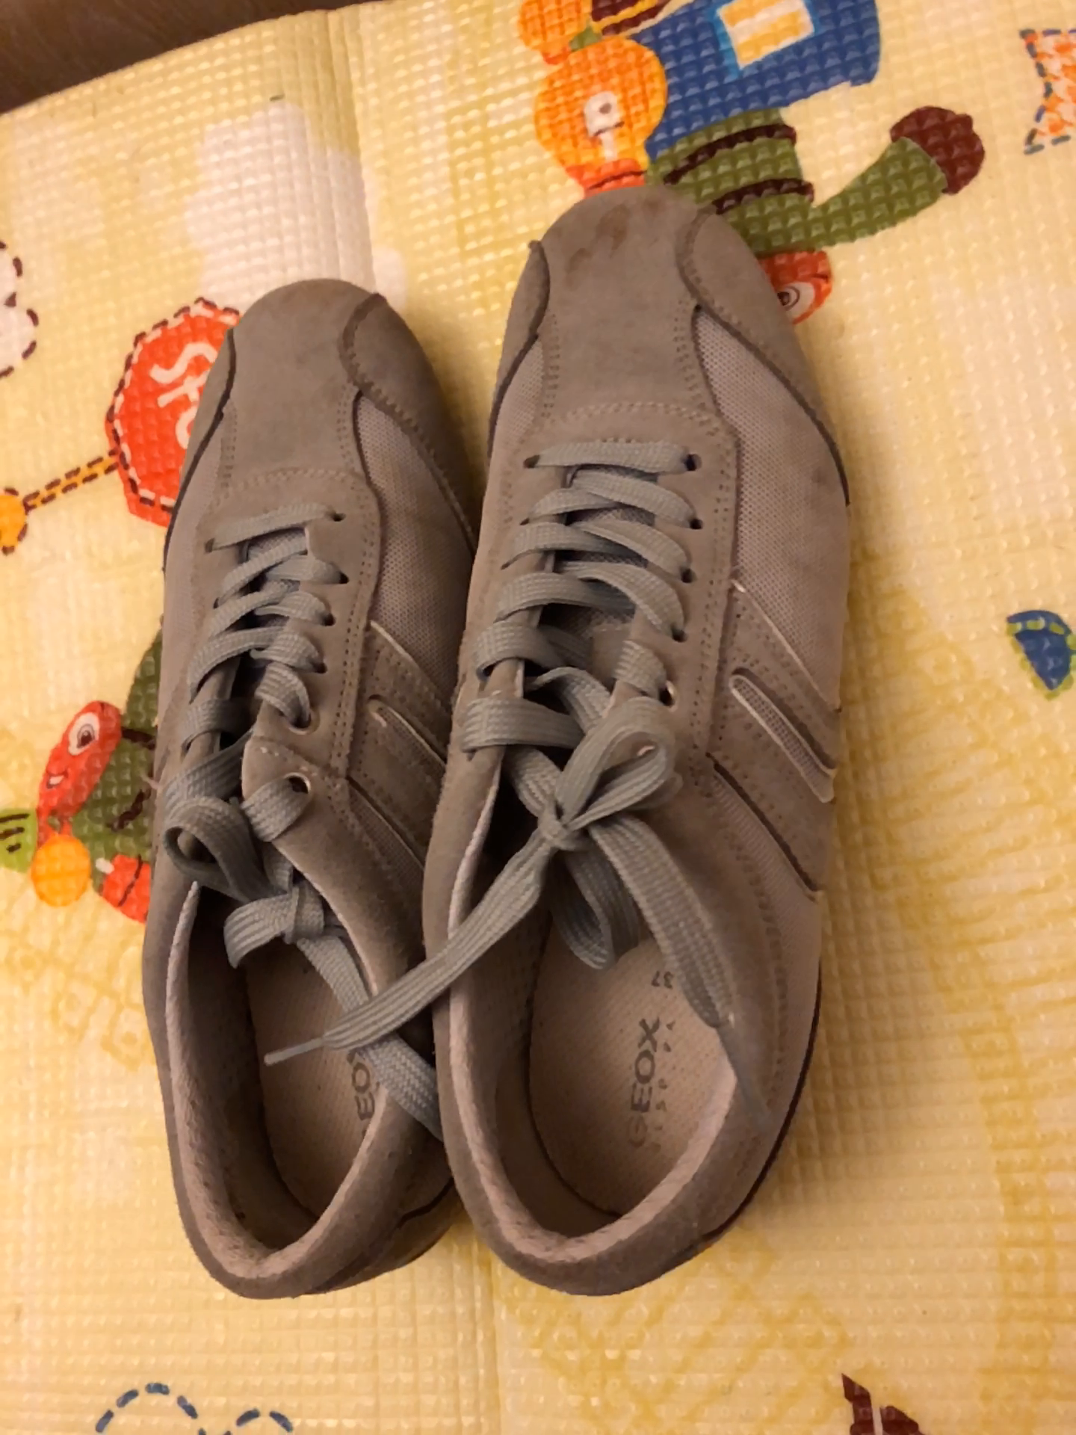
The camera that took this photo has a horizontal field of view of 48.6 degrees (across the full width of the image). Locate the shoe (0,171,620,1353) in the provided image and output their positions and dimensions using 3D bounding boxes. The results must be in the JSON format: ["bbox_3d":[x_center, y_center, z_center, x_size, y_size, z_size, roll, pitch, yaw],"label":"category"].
[{"bbox_3d":[-0.054,0.013,0.299,0.090,0.120,0.230,-11,79,18],"label":"shoe"}]

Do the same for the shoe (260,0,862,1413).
[{"bbox_3d":[0.019,-0.006,0.257,0.090,0.120,0.230,-1,83,19],"label":"shoe"}]
